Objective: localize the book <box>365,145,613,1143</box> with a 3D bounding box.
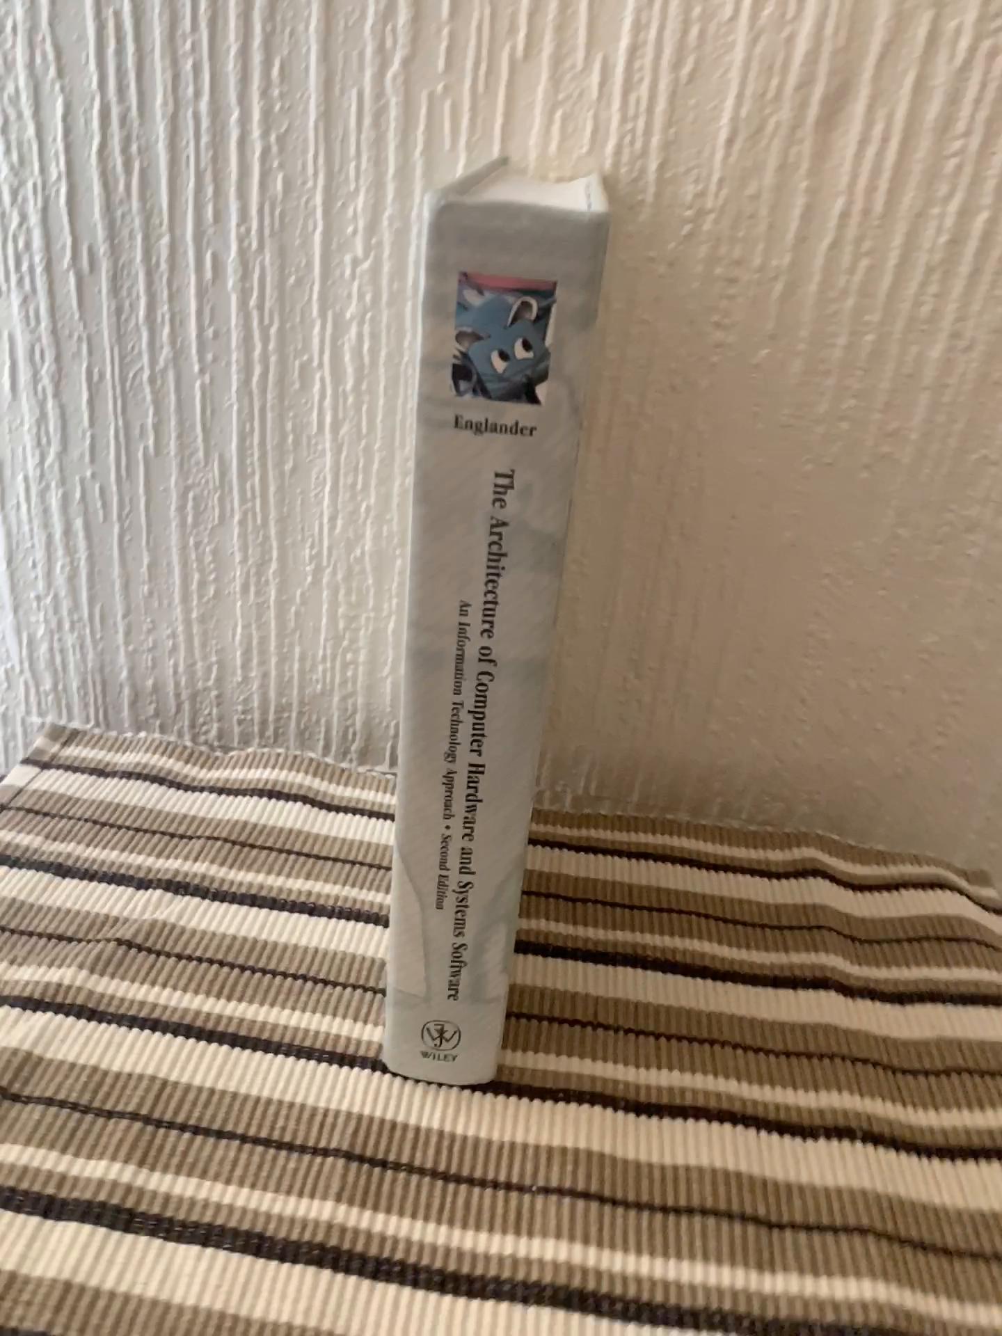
[{"bbox_3d":[-0.001,-0.024,0.342,0.040,0.258,0.212,6,28,2],"label":"book"}]
